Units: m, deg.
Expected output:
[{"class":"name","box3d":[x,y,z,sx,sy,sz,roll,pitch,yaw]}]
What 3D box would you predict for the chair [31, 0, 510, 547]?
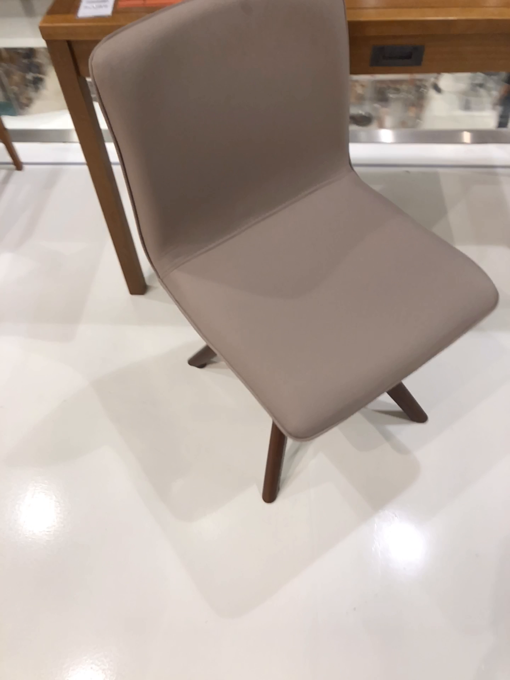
[{"class":"chair","box3d":[0.097,-0.134,1.034,0.541,0.835,0.532,-33,58,-20]}]
